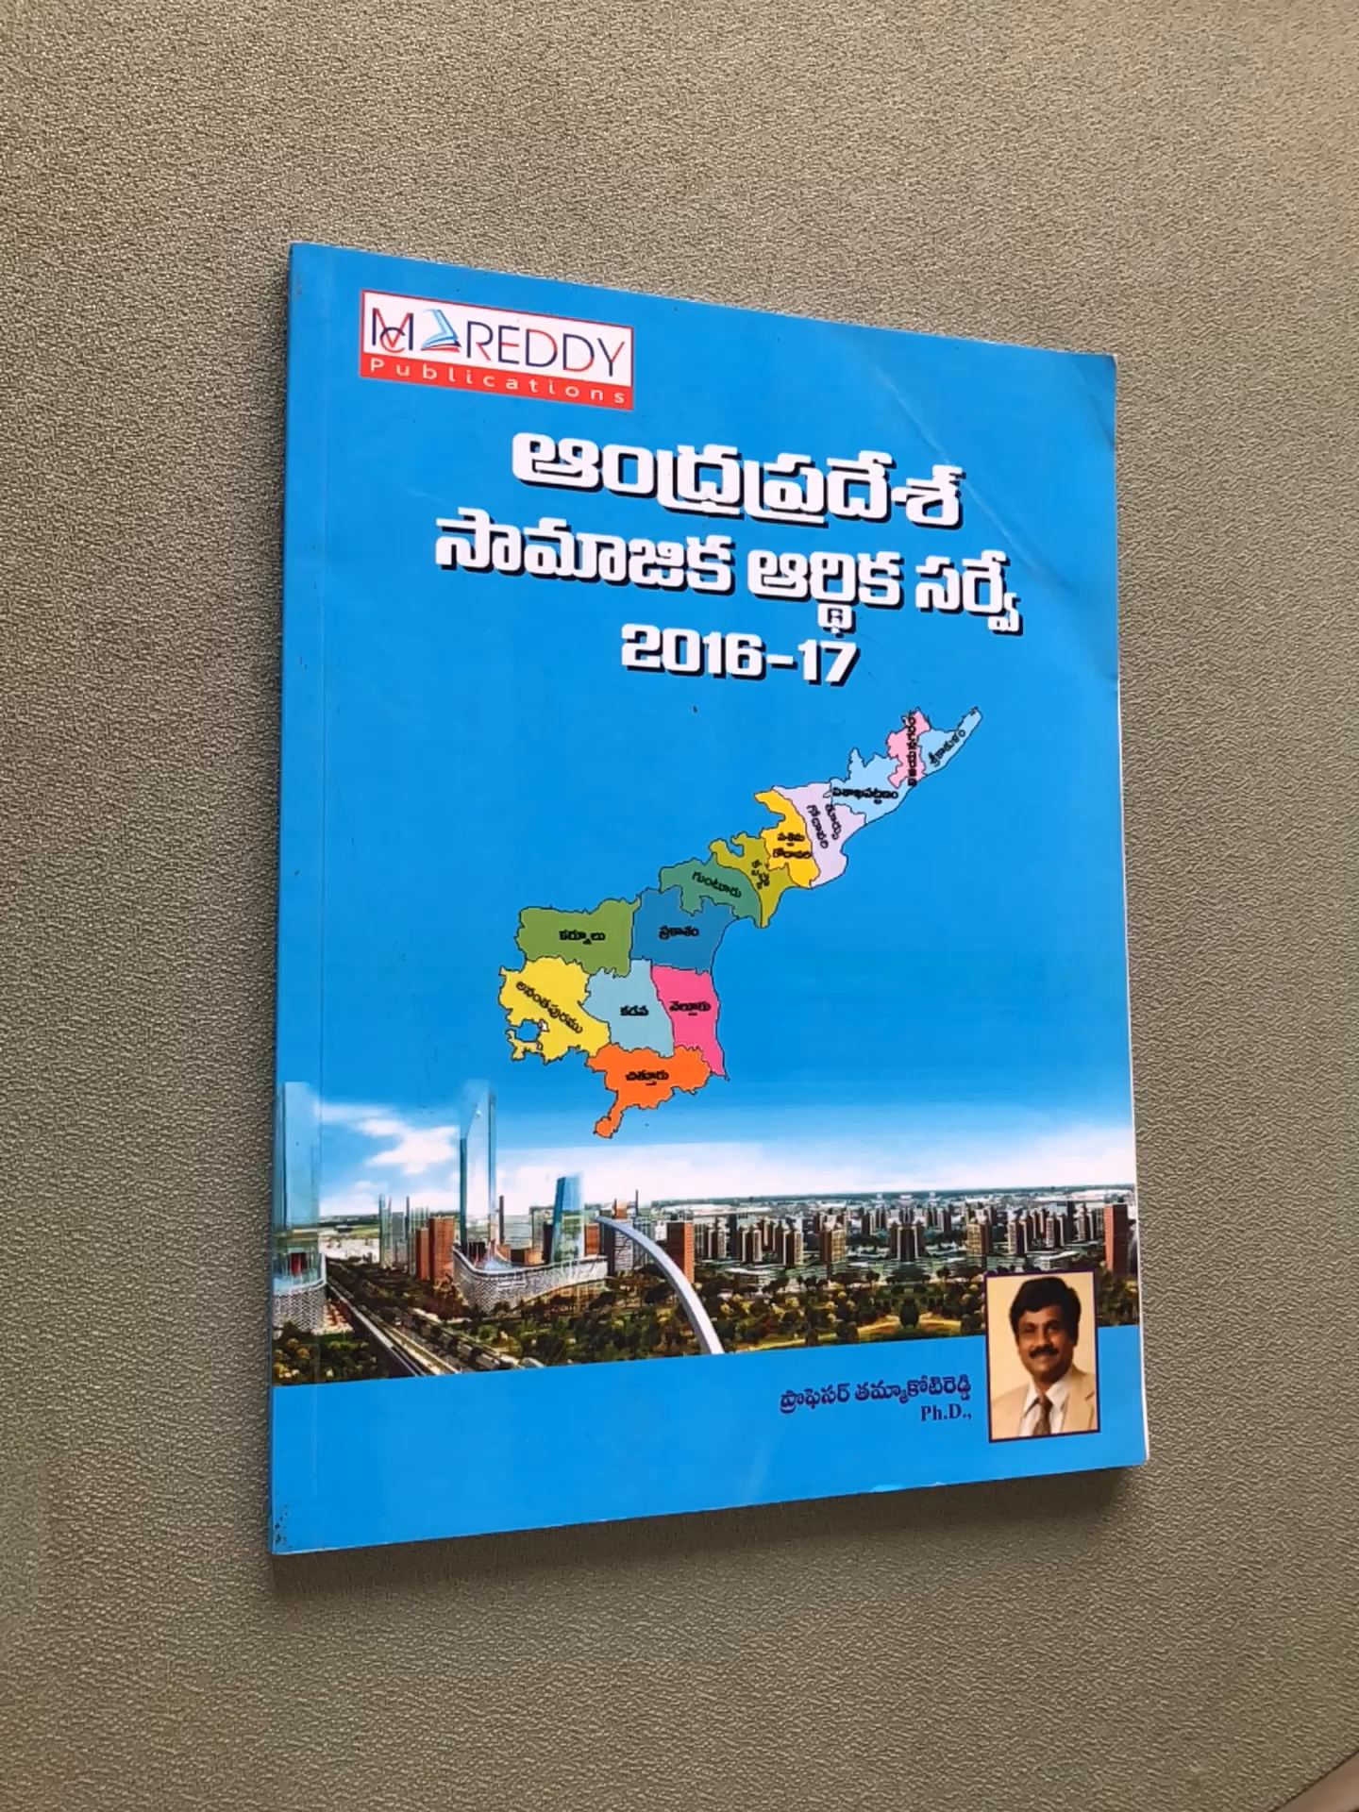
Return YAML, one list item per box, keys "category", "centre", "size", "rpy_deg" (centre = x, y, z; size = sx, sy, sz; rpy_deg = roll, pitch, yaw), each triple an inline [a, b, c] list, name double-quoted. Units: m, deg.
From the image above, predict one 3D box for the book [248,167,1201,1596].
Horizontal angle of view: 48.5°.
- category: "book"
  centre: [0.014, -0.006, 0.289]
  size: [0.180, 0.020, 0.240]
  rpy_deg: [1, 85, -17]
